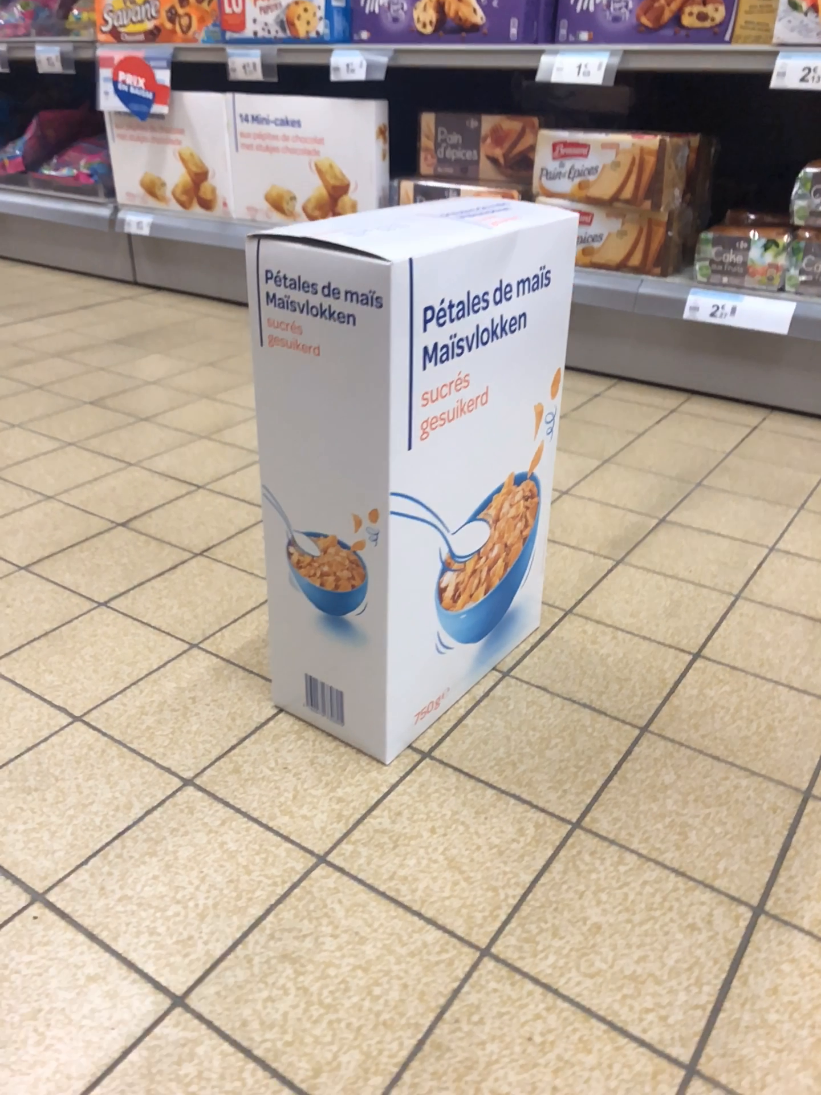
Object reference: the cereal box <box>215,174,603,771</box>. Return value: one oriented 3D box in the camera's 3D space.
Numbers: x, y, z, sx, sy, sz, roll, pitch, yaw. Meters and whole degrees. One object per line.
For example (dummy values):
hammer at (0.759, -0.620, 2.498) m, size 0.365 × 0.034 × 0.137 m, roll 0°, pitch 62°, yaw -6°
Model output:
cereal box at (0.007, -0.057, 0.551) m, size 0.110 × 0.298 × 0.201 m, roll 19°, pitch 32°, yaw 32°
